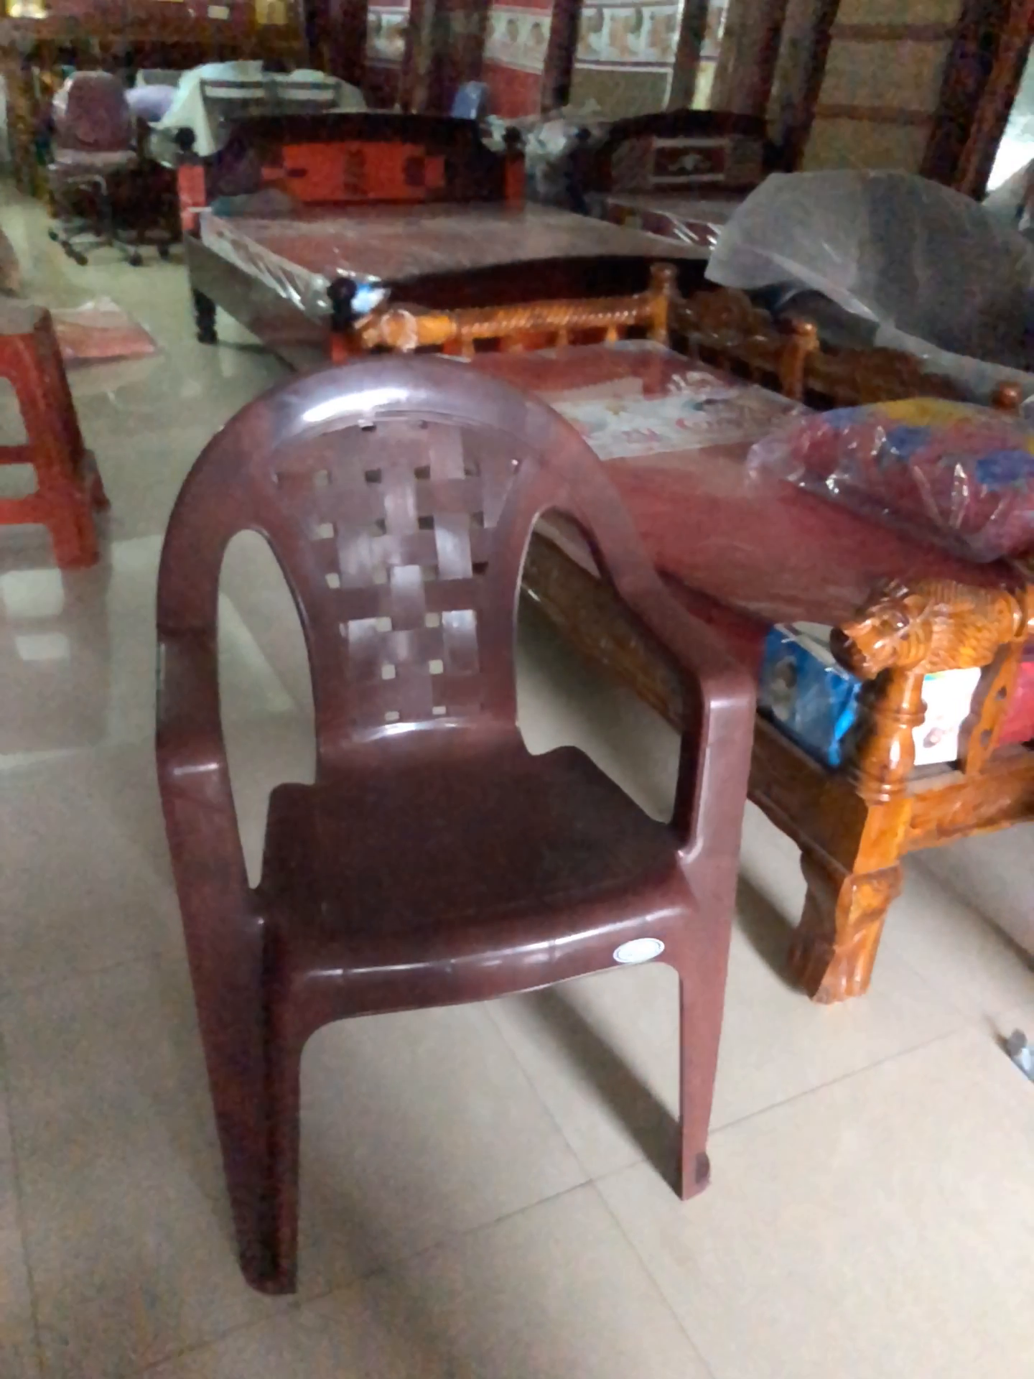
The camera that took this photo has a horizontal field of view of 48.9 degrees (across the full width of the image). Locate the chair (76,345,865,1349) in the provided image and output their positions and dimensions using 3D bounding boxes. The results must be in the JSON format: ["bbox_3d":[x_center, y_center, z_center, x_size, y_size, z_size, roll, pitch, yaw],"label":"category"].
[{"bbox_3d":[-0.108,0.117,1.286,0.601,0.836,0.612,-8,30,-16],"label":"chair"}]
